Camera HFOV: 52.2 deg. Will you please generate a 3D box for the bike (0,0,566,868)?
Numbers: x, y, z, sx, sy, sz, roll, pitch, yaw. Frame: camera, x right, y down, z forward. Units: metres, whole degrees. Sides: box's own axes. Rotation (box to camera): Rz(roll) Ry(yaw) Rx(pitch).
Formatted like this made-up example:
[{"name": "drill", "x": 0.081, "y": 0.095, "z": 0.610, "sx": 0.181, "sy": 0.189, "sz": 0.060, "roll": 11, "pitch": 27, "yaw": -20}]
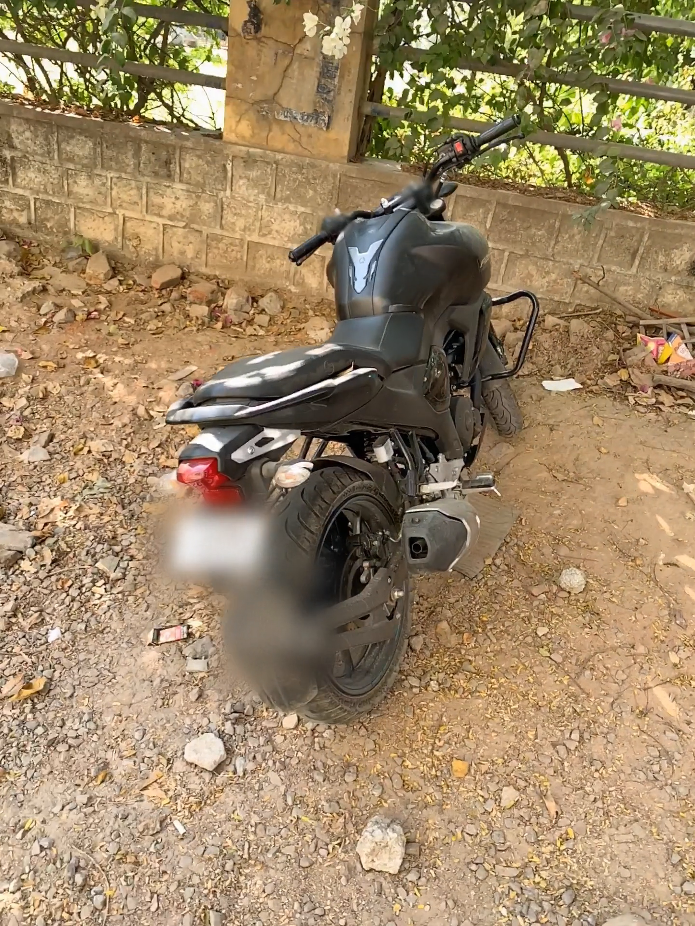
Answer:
[{"name": "bike", "x": -0.052, "y": -0.340, "z": 2.011, "sx": 0.818, "sy": 1.498, "sz": 1.764, "roll": 15, "pitch": 35, "yaw": 10}]
